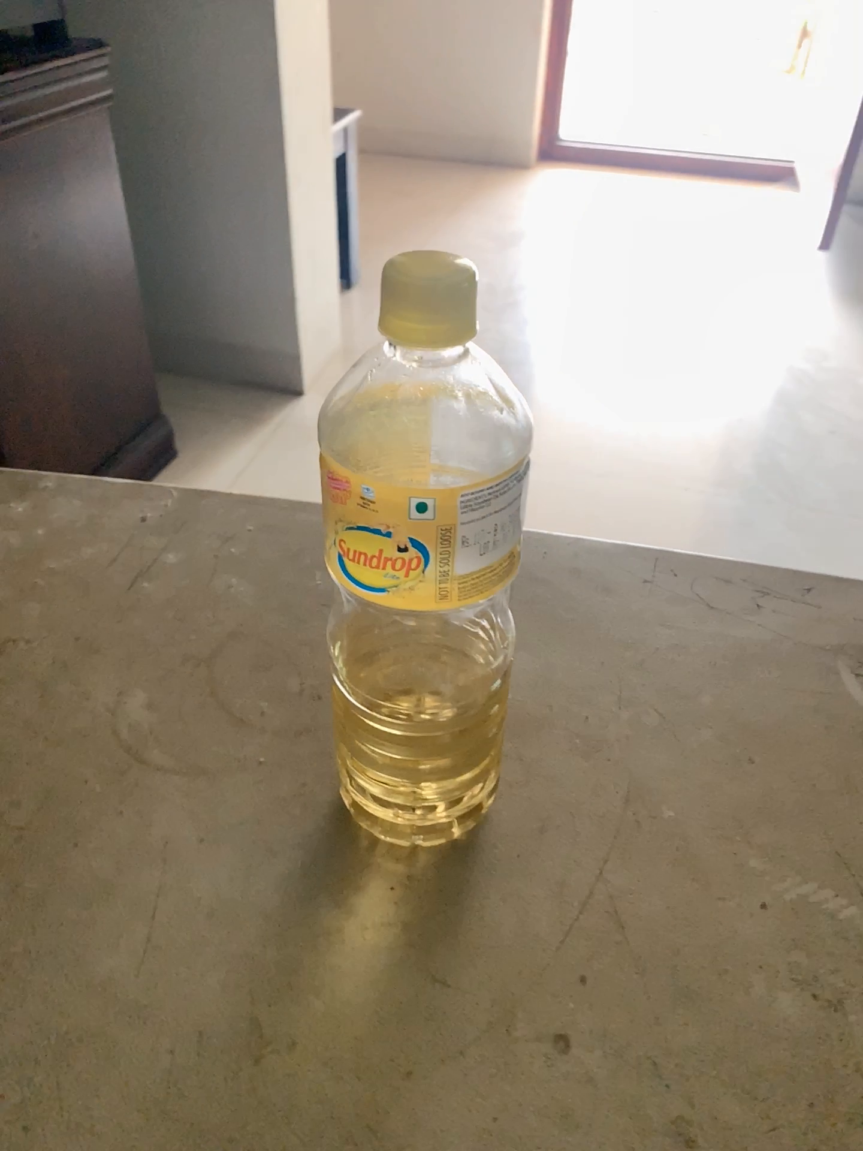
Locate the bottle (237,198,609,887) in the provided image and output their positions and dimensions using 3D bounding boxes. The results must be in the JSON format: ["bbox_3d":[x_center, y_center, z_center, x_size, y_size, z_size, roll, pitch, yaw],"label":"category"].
[{"bbox_3d":[-0.003,0.001,0.372,0.090,0.269,0.090,1,39,-1],"label":"bottle"}]
